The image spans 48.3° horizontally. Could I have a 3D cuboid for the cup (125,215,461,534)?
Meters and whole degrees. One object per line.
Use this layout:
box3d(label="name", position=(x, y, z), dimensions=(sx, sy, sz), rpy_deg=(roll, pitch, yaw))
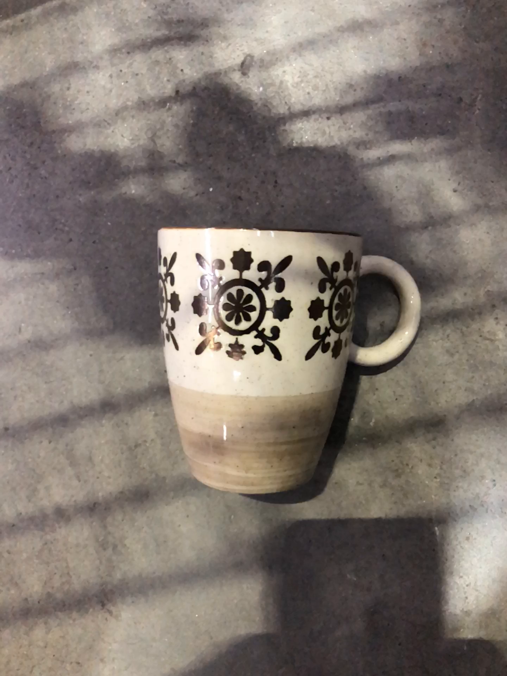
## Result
box3d(label="cup", position=(0.006, 0.007, 0.203), dimensions=(0.100, 0.070, 0.090), rpy_deg=(-1, 98, -14))
